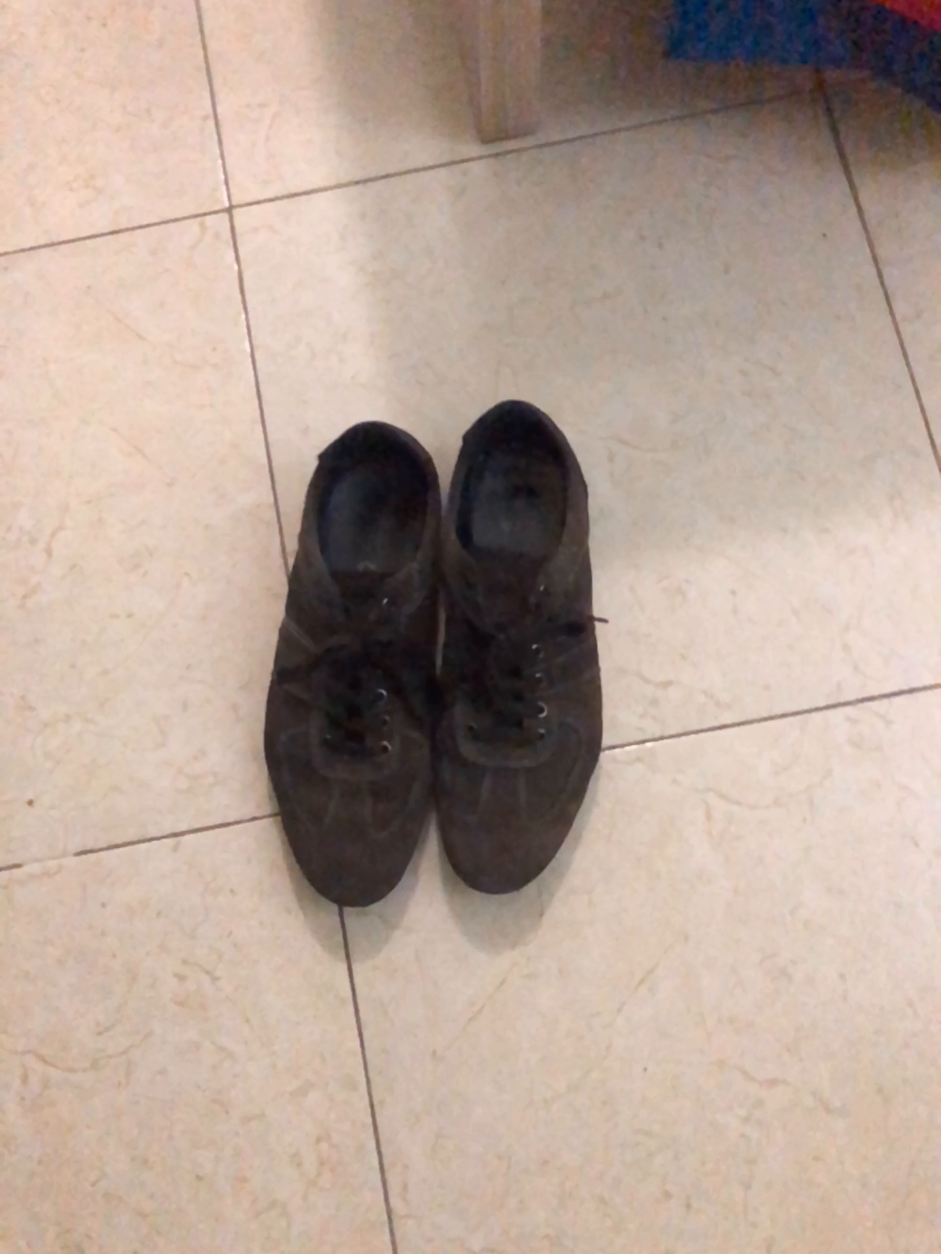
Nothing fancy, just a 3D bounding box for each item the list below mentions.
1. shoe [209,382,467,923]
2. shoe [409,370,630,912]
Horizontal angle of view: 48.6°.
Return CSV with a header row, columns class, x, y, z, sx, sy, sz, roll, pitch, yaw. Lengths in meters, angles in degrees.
class,x,y,z,sx,sy,sz,roll,pitch,yaw
shoe,-0.069,0.017,0.624,0.120,0.110,0.300,1,77,3
shoe,0.033,0.010,0.625,0.110,0.110,0.300,2,77,4
